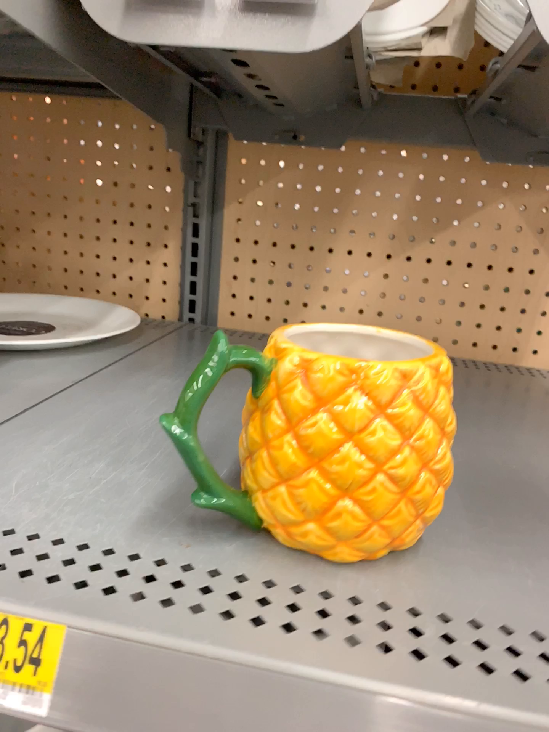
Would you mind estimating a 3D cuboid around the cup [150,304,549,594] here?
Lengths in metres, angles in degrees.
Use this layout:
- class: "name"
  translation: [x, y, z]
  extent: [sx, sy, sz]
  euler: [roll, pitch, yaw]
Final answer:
- class: "cup"
  translation: [0.023, 0.032, 0.282]
  extent: [0.160, 0.100, 0.100]
  euler: [2, 16, -14]
